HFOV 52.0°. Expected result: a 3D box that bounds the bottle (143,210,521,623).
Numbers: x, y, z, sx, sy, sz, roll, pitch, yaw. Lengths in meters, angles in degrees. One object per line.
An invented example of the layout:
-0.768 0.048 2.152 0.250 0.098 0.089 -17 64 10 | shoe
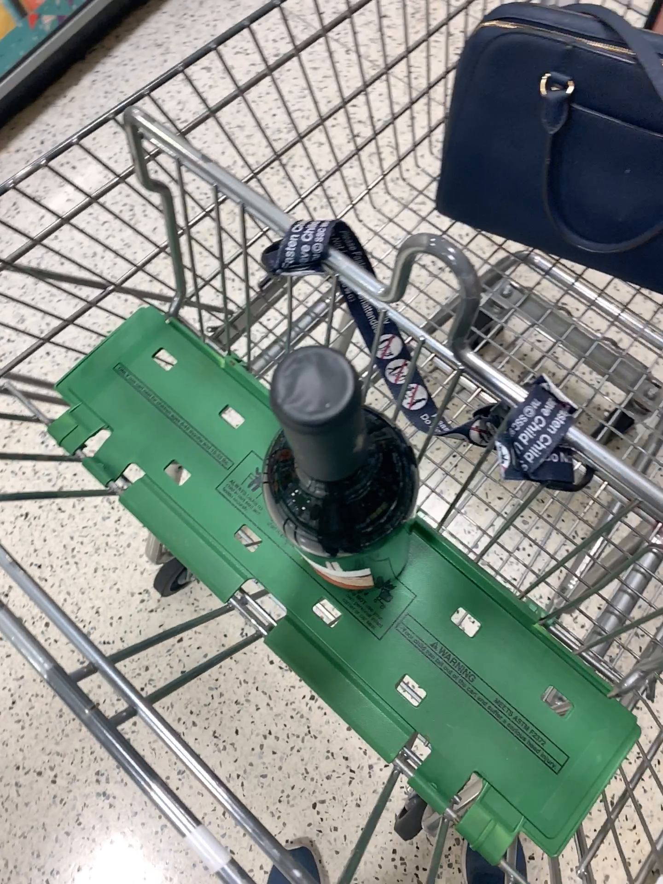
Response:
0.011 0.025 0.344 0.080 0.299 0.080 -1 72 4 | bottle
